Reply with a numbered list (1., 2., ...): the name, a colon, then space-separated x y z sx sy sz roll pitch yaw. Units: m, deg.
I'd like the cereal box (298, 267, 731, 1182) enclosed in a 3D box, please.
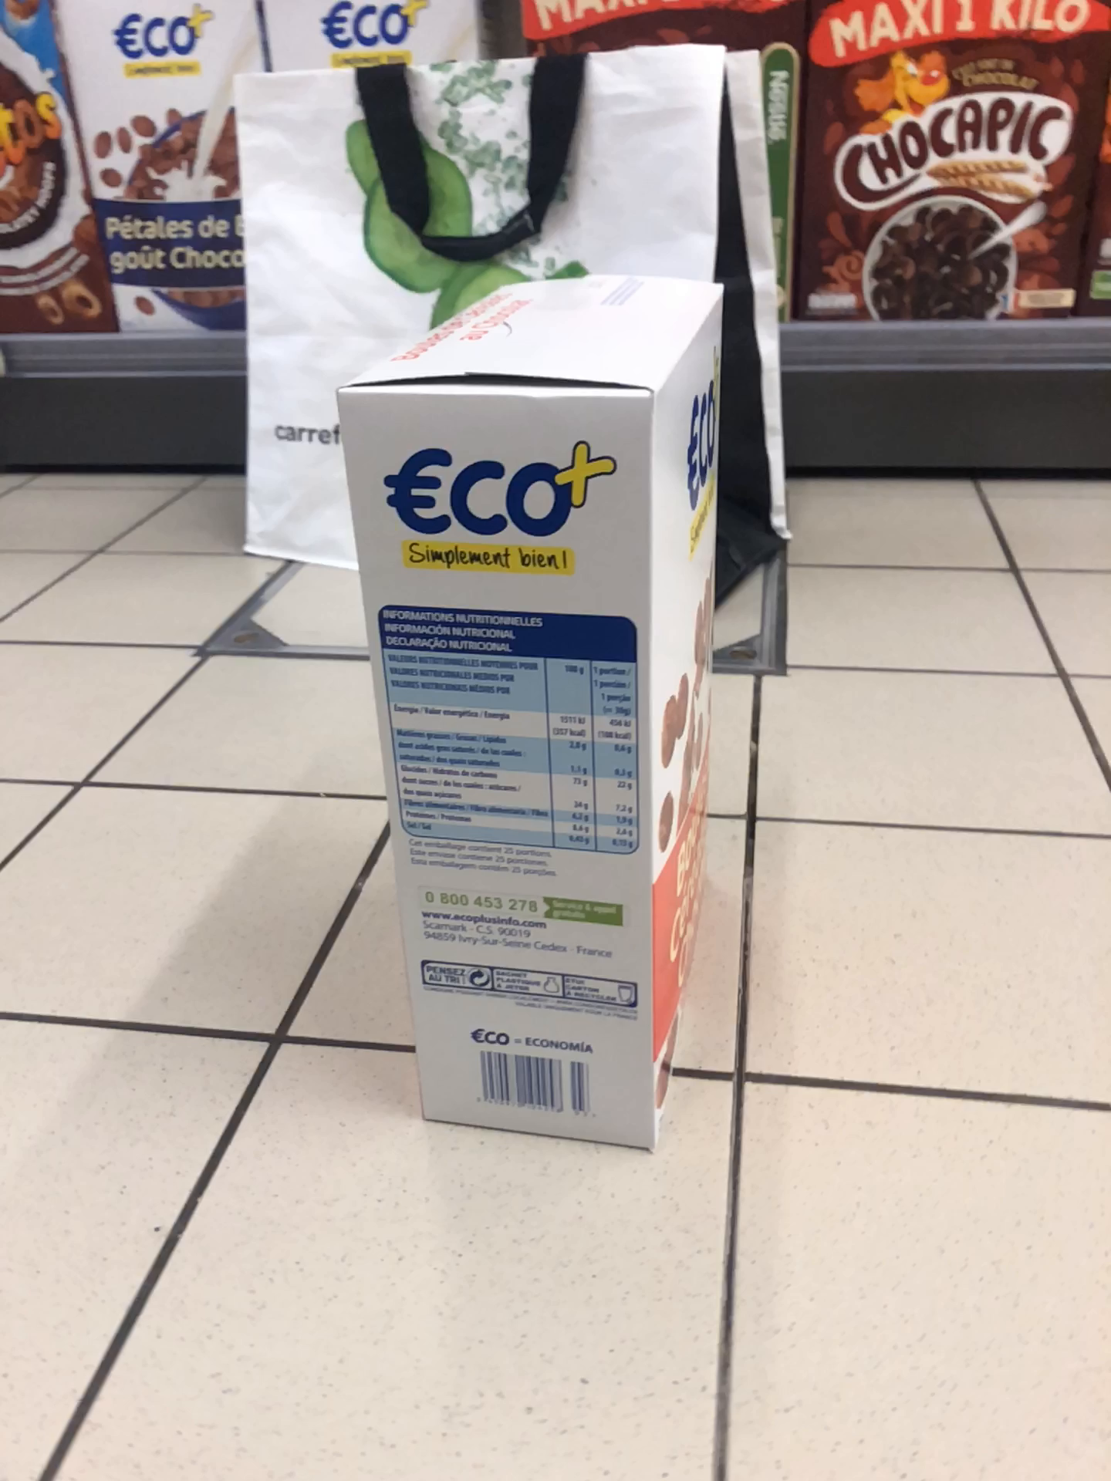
1. cereal box: 0.006 -0.019 0.494 0.100 0.298 0.211 4 28 13
